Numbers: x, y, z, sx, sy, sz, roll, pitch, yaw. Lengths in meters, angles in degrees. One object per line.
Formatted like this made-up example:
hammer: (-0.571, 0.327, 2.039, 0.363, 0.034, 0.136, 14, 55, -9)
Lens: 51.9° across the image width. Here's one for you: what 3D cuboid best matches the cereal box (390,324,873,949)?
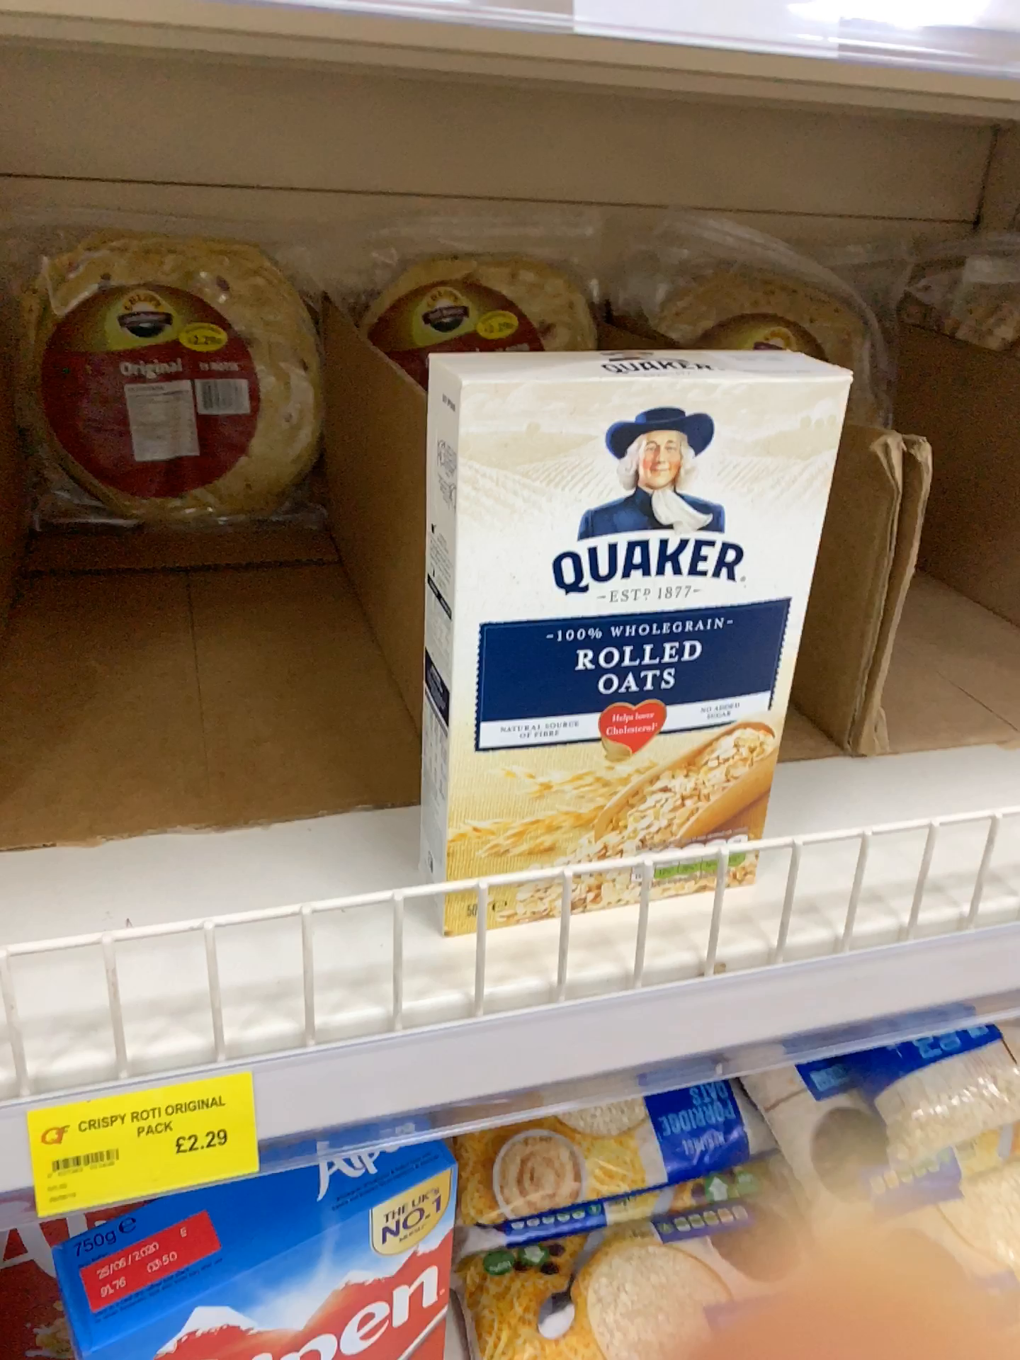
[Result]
cereal box: (0.035, -0.017, 0.399, 0.150, 0.218, 0.060, -6, 27, -18)
